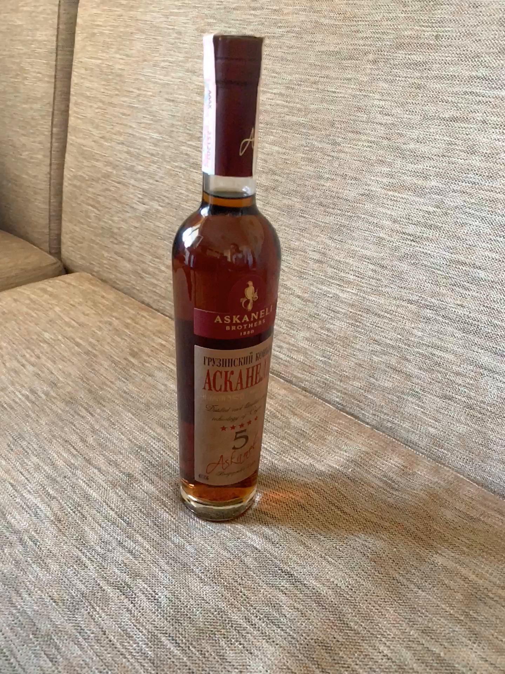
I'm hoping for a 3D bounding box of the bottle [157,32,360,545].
[{"bbox_3d":[-0.009,-0.013,0.303,0.070,0.279,0.070,3,28,-2],"label":"bottle"}]
